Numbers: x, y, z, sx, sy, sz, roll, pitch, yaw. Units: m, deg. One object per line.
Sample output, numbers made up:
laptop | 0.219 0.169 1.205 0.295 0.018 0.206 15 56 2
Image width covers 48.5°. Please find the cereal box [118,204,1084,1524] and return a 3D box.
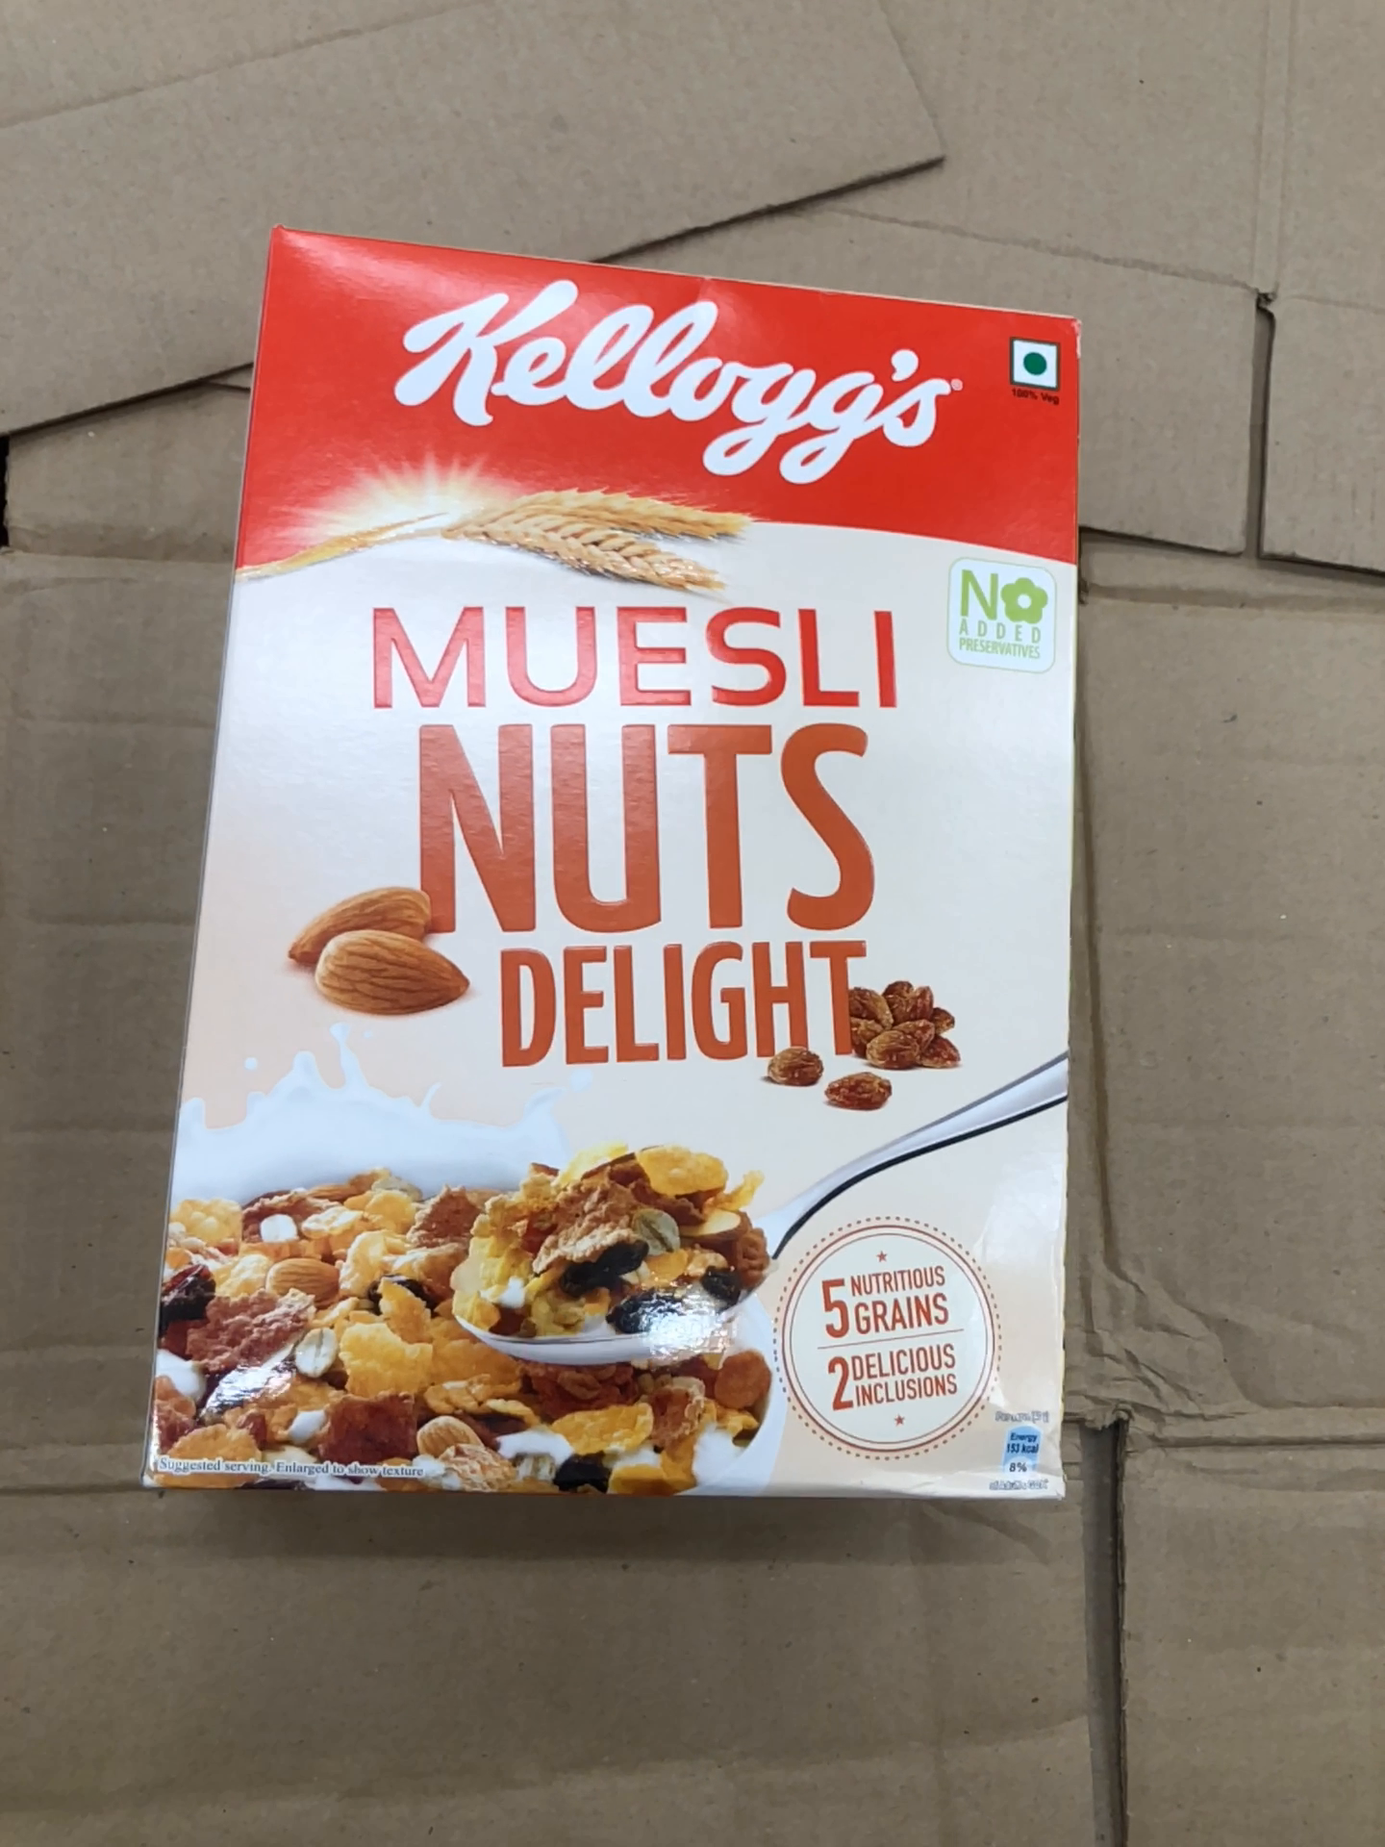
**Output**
cereal box | -0.012 -0.012 0.345 0.180 0.070 0.260 4 80 -7
